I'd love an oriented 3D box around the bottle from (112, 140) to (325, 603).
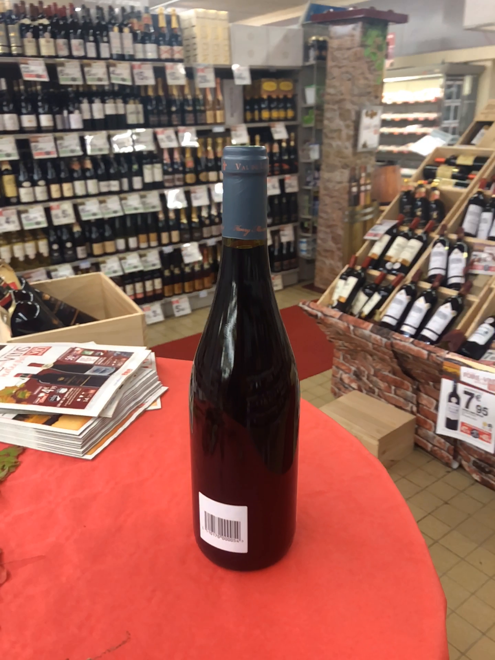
[{"bbox_3d":[-0.010,0.025,0.371,0.090,0.289,0.091,-2,21,1],"label":"bottle"}]
